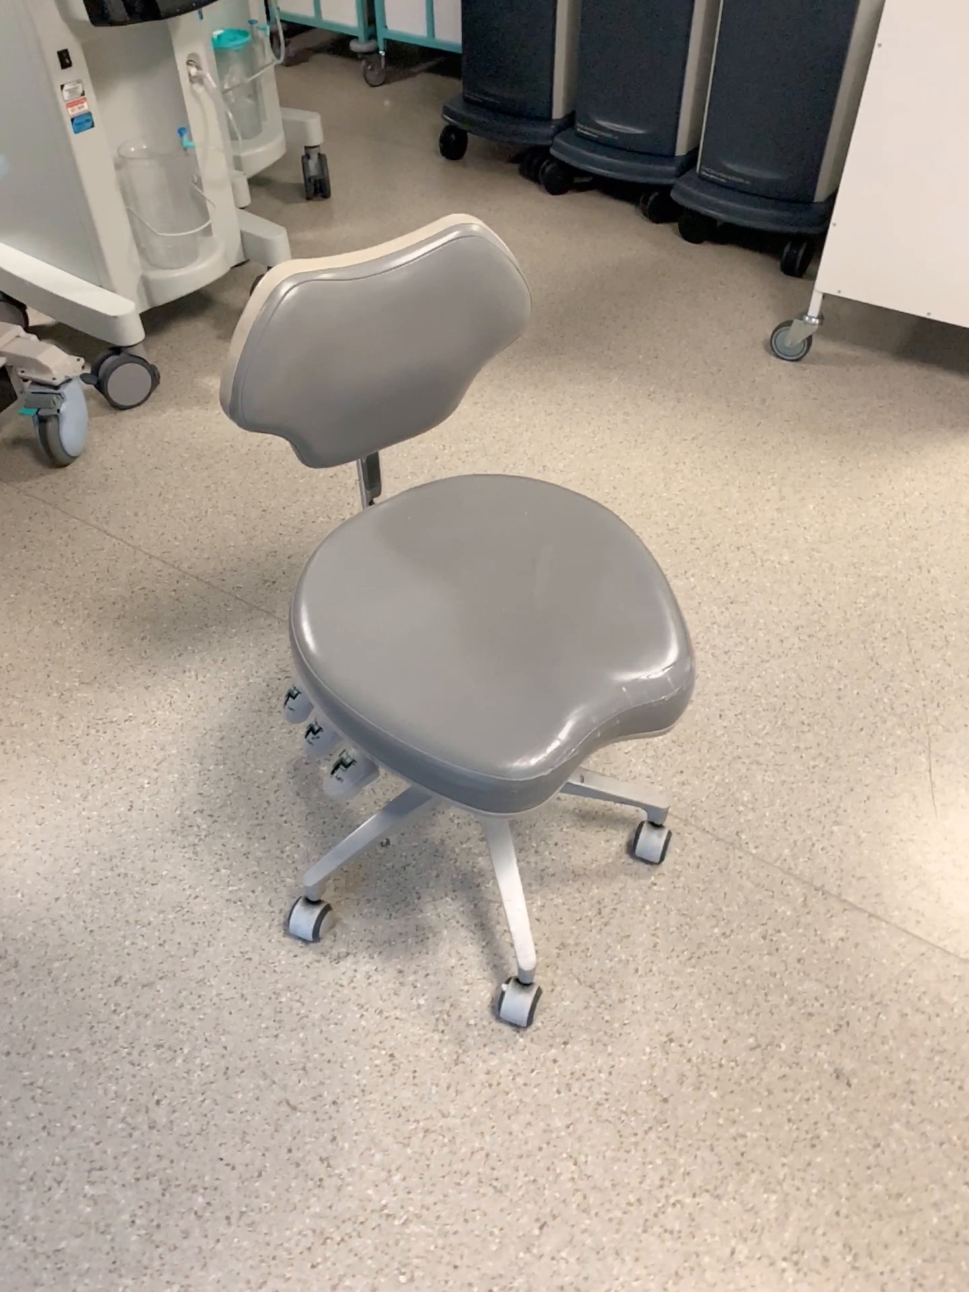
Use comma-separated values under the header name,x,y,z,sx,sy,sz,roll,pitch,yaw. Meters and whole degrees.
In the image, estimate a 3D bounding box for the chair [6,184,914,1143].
name,x,y,z,sx,sy,sz,roll,pitch,yaw
chair,-0.040,0.029,1.212,0.602,0.822,0.604,-29,54,-24
